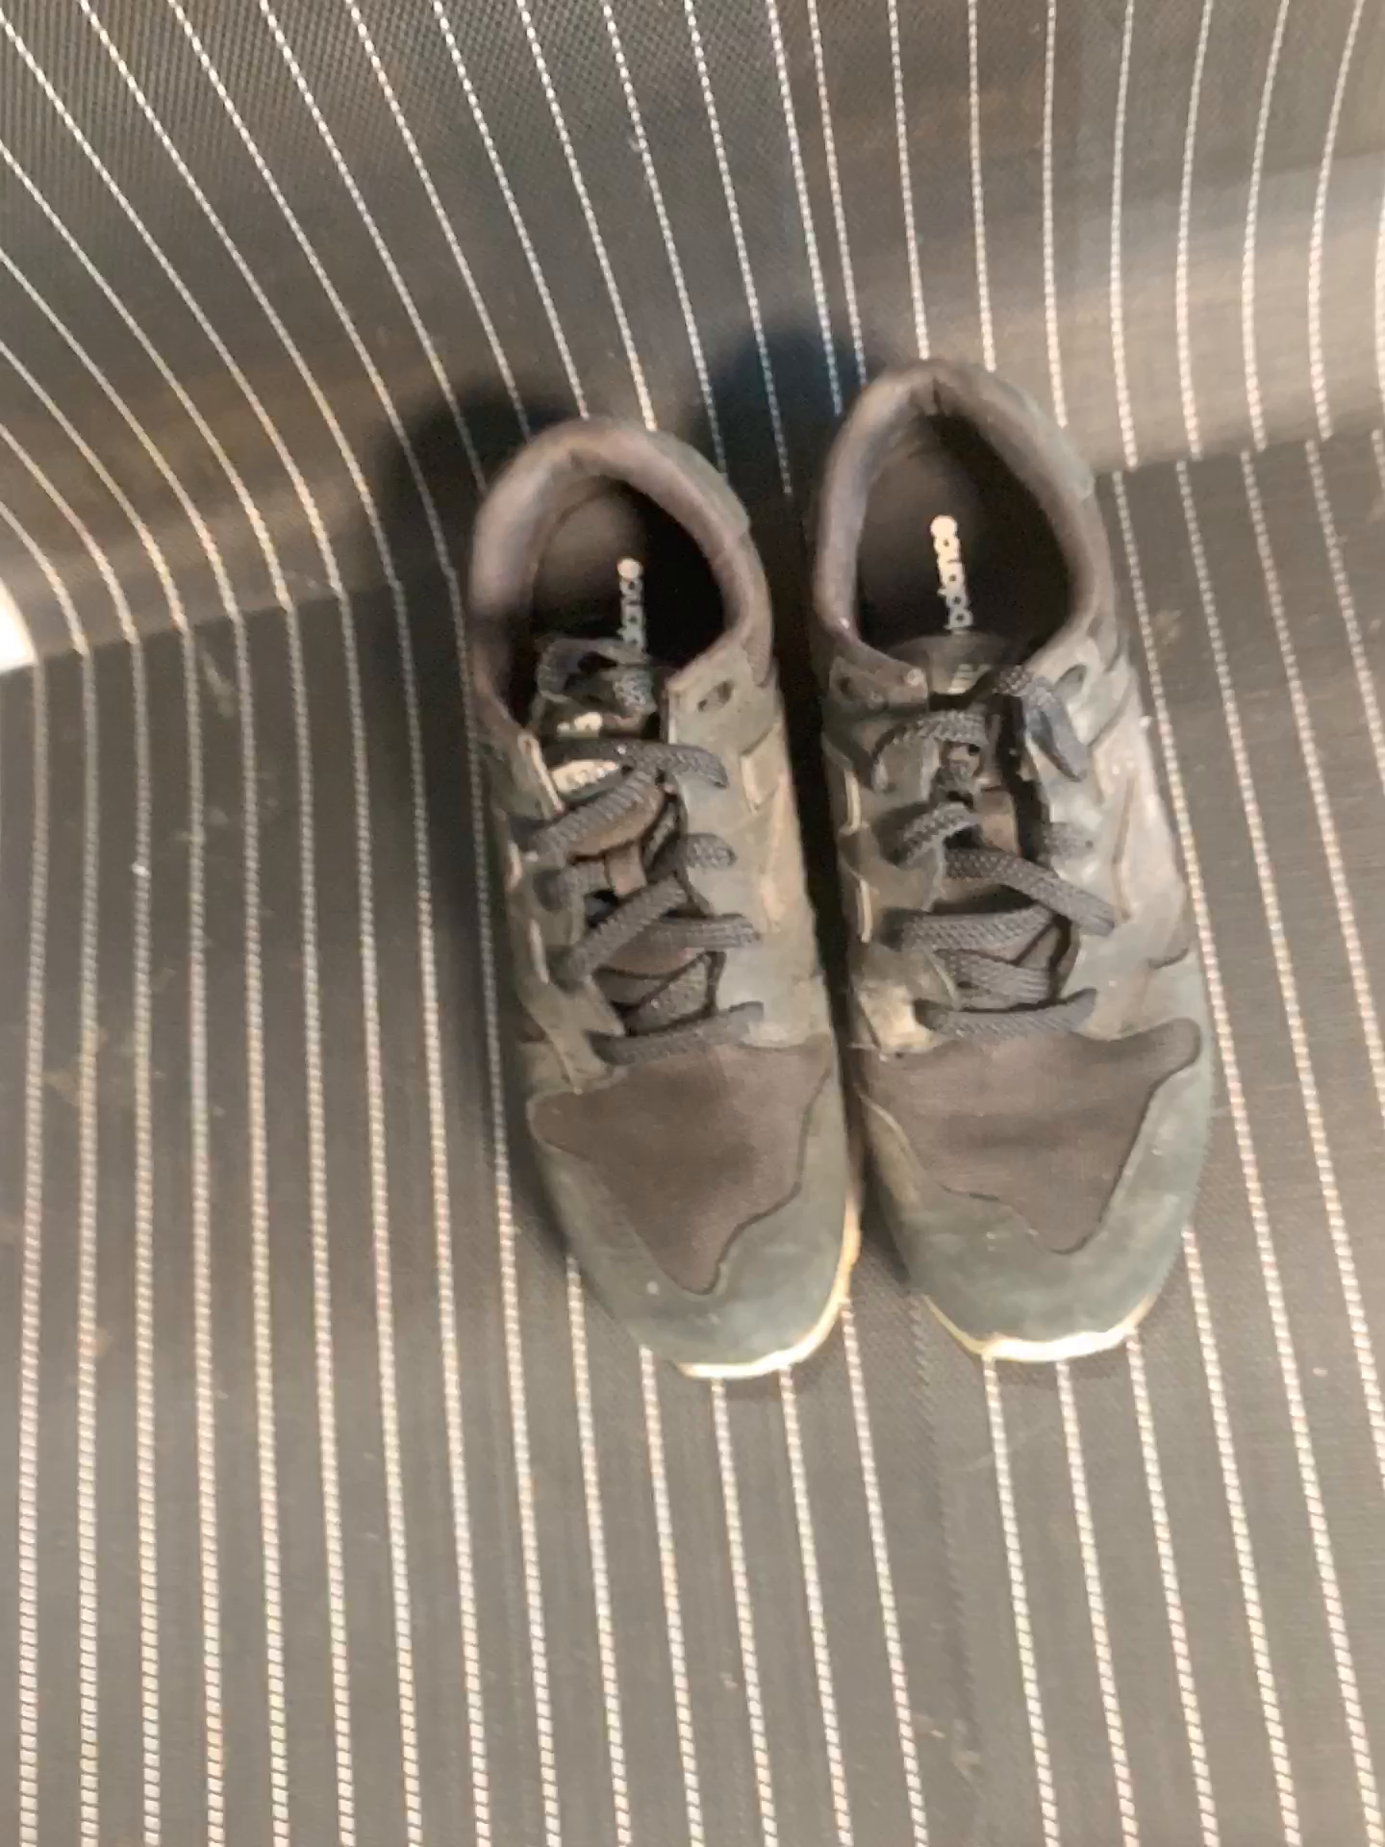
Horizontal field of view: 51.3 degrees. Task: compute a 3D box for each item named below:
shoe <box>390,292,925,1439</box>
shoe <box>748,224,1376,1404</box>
[{"bbox_3d":[-0.012,-0.017,0.420,0.110,0.090,0.300,-9,73,8],"label":"shoe"},{"bbox_3d":[0.090,-0.030,0.405,0.110,0.090,0.300,-7,74,9],"label":"shoe"}]
